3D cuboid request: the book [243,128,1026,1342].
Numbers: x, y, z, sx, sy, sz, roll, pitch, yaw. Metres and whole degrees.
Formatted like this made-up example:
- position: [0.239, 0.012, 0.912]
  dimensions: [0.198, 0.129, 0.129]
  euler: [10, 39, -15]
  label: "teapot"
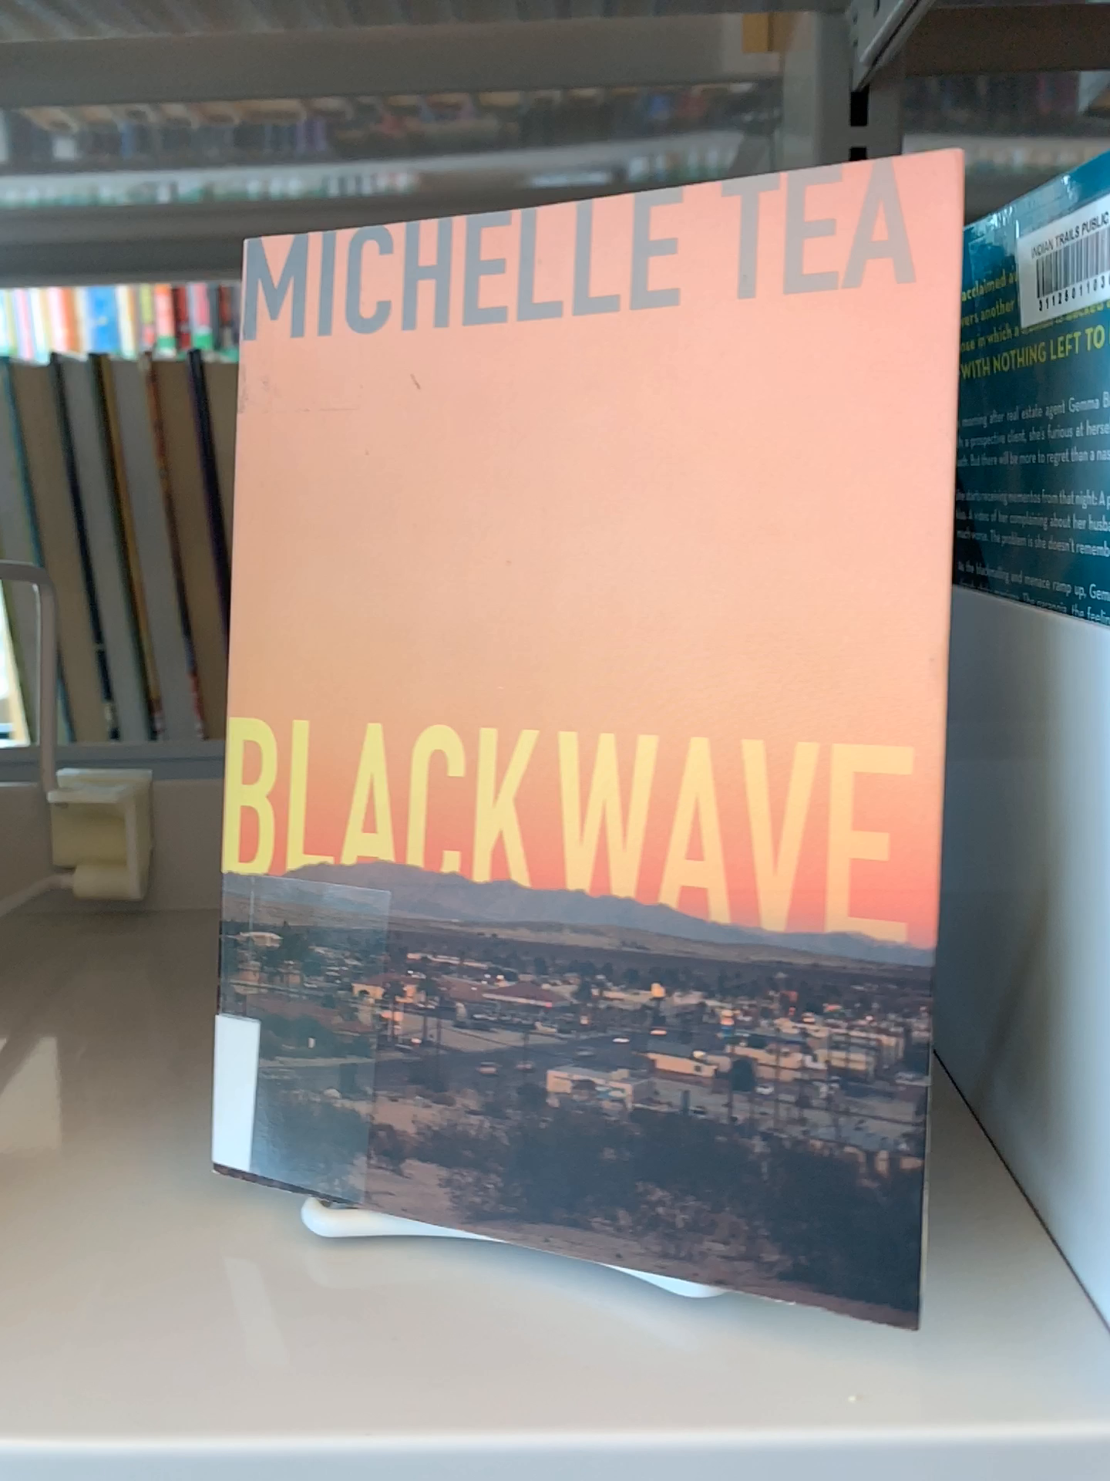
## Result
- position: [0.012, -0.004, 0.235]
  dimensions: [0.147, 0.201, 0.036]
  euler: [3, 1, 22]
  label: "book"
